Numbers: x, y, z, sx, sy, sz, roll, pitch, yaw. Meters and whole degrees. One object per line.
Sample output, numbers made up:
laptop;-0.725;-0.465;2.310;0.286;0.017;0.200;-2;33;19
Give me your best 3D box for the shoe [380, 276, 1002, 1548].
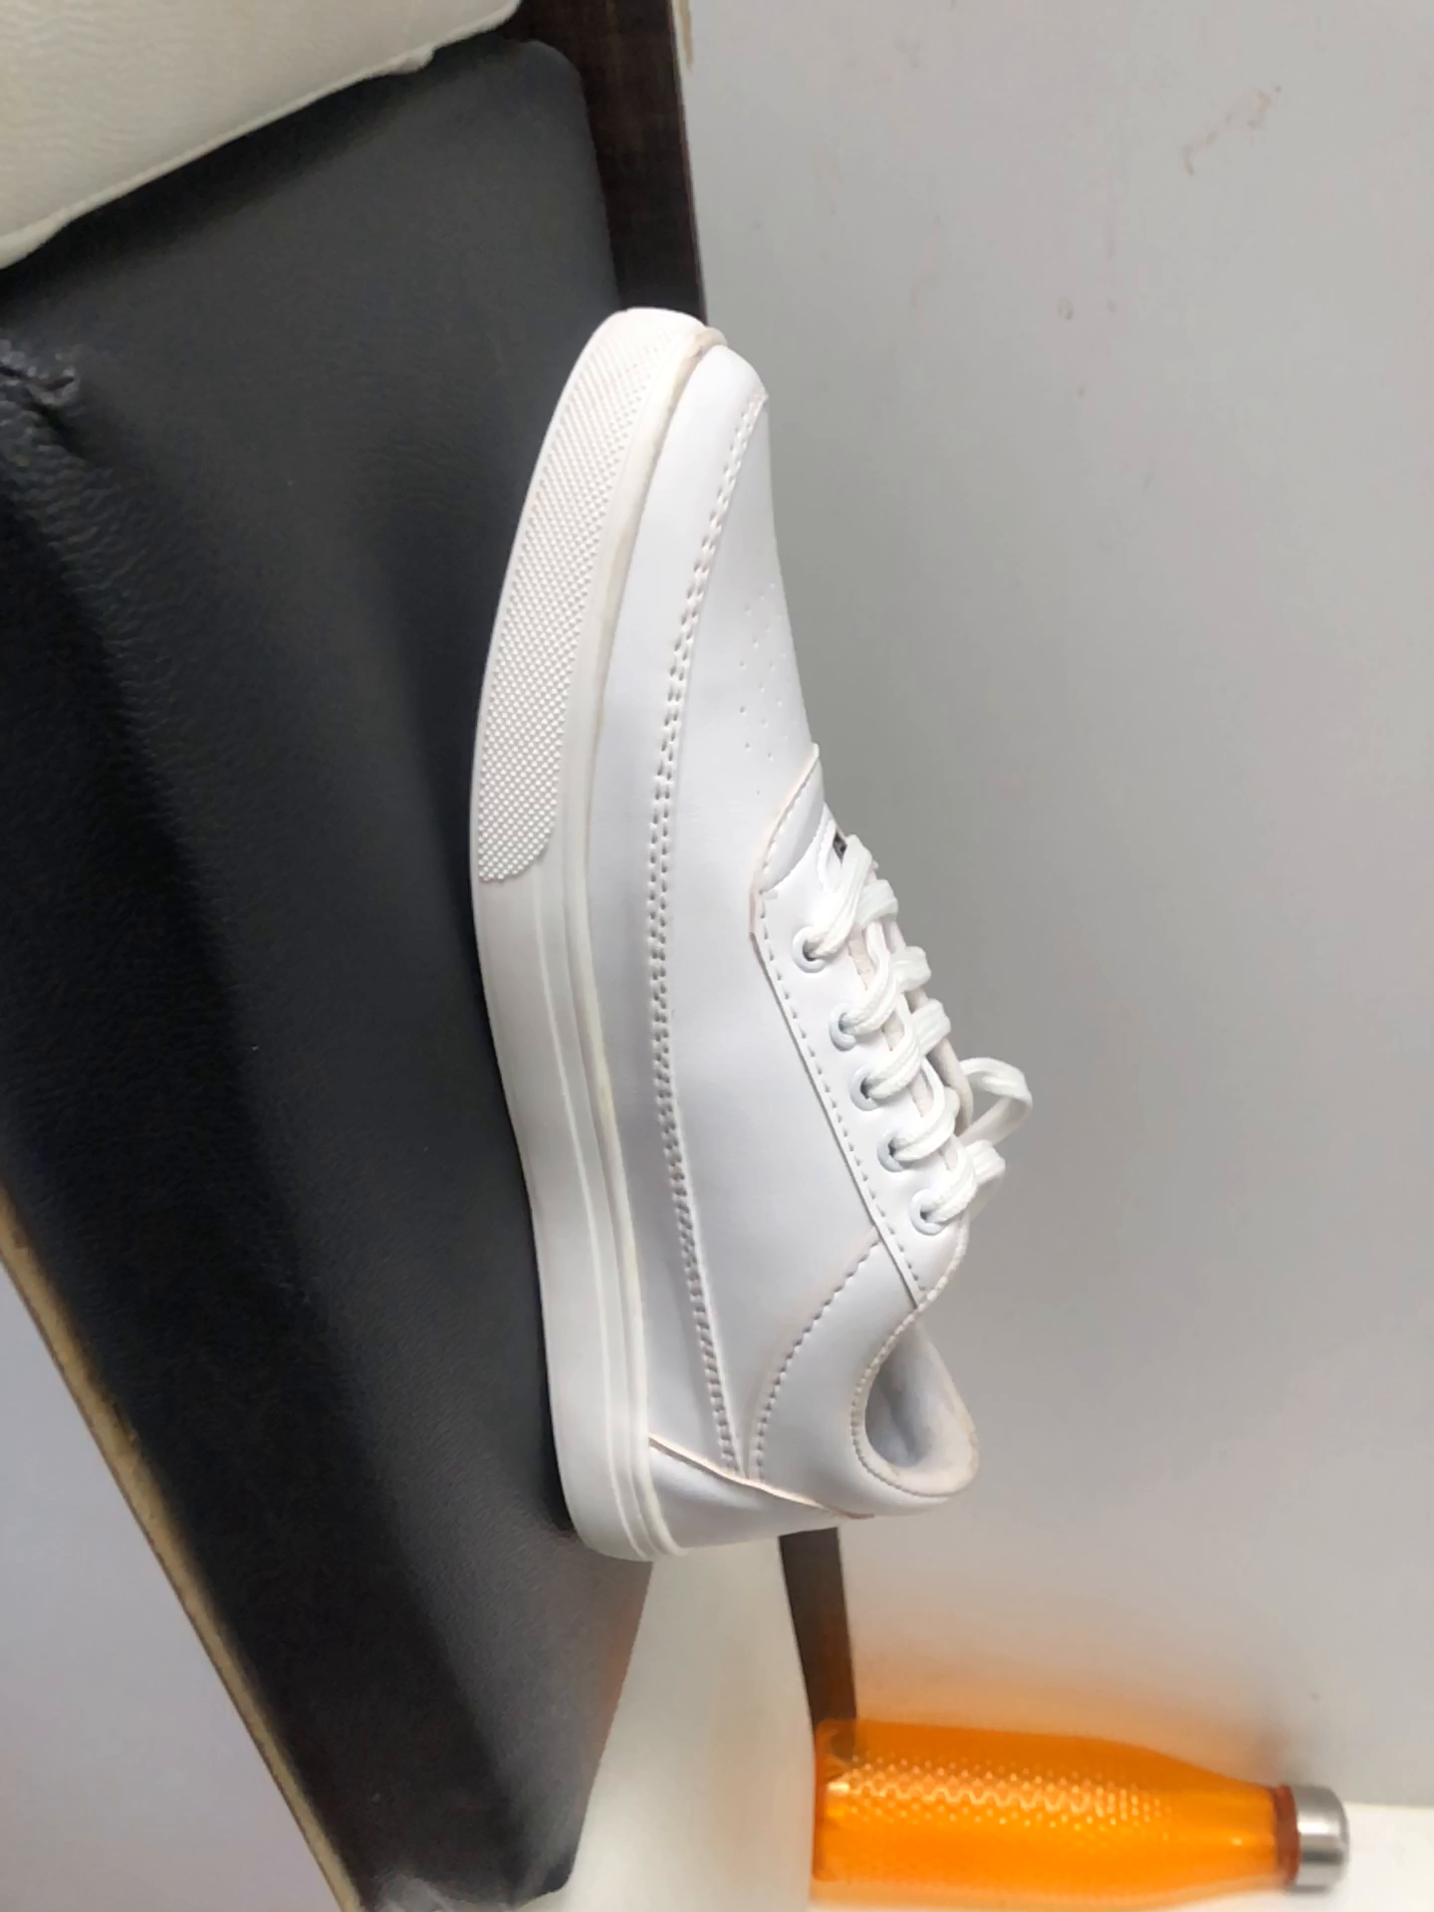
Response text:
shoe;0.016;-0.006;0.407;0.130;0.110;0.291;-73;160;-60
